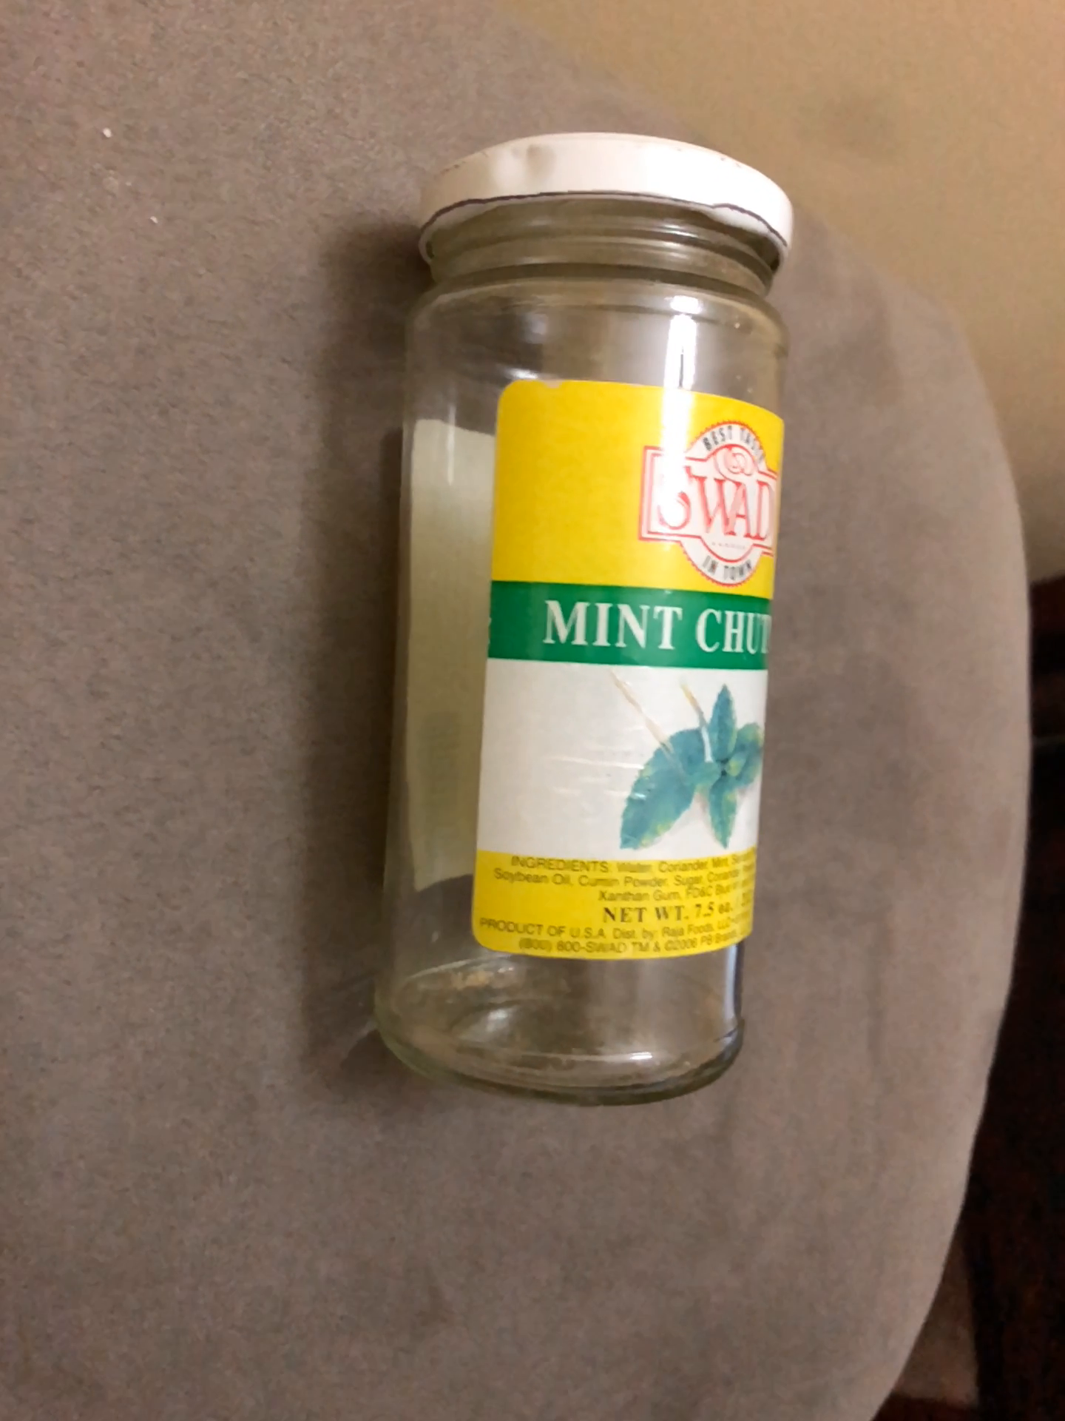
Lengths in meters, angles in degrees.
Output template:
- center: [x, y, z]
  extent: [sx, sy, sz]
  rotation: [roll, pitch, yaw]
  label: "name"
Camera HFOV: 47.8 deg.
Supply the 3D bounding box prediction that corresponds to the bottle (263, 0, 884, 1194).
- center: [0.003, -0.015, 0.175]
  extent: [0.060, 0.059, 0.137]
  rotation: [0, 94, -35]
  label: "bottle"
